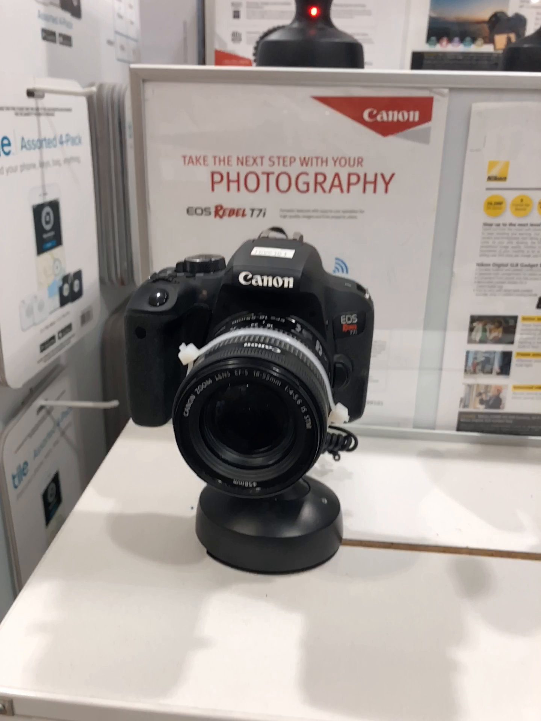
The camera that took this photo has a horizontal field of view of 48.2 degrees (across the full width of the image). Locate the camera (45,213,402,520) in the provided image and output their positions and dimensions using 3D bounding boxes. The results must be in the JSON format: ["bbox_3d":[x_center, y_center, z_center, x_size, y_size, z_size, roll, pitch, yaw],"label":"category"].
[{"bbox_3d":[-0.012,-0.009,0.290,0.130,0.100,0.120,4,22,7],"label":"camera"}]
